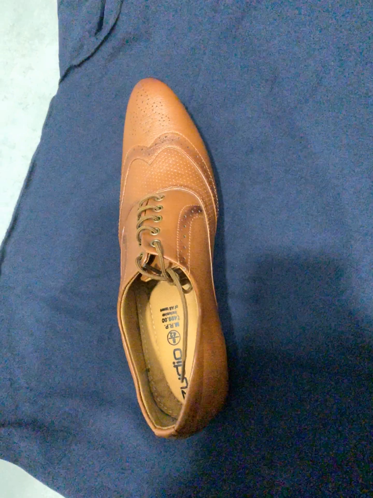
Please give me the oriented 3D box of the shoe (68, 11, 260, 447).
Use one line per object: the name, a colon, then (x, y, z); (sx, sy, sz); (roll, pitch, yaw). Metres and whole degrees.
shoe: (-0.021, -0.016, 0.331); (0.100, 0.090, 0.320); (-12, 78, 21)
